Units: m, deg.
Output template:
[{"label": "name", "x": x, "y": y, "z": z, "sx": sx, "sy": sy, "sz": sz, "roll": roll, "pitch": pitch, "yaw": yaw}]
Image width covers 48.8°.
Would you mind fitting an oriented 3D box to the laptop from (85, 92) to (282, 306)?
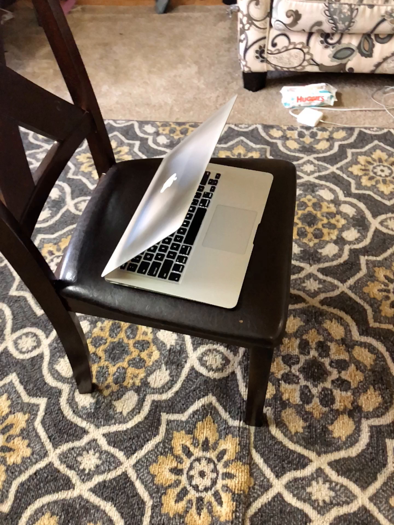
[{"label": "laptop", "x": -0.001, "y": -0.118, "z": 0.711, "sx": 0.215, "sy": 0.154, "sz": 0.304, "roll": 11, "pitch": 52, "yaw": 14}]
